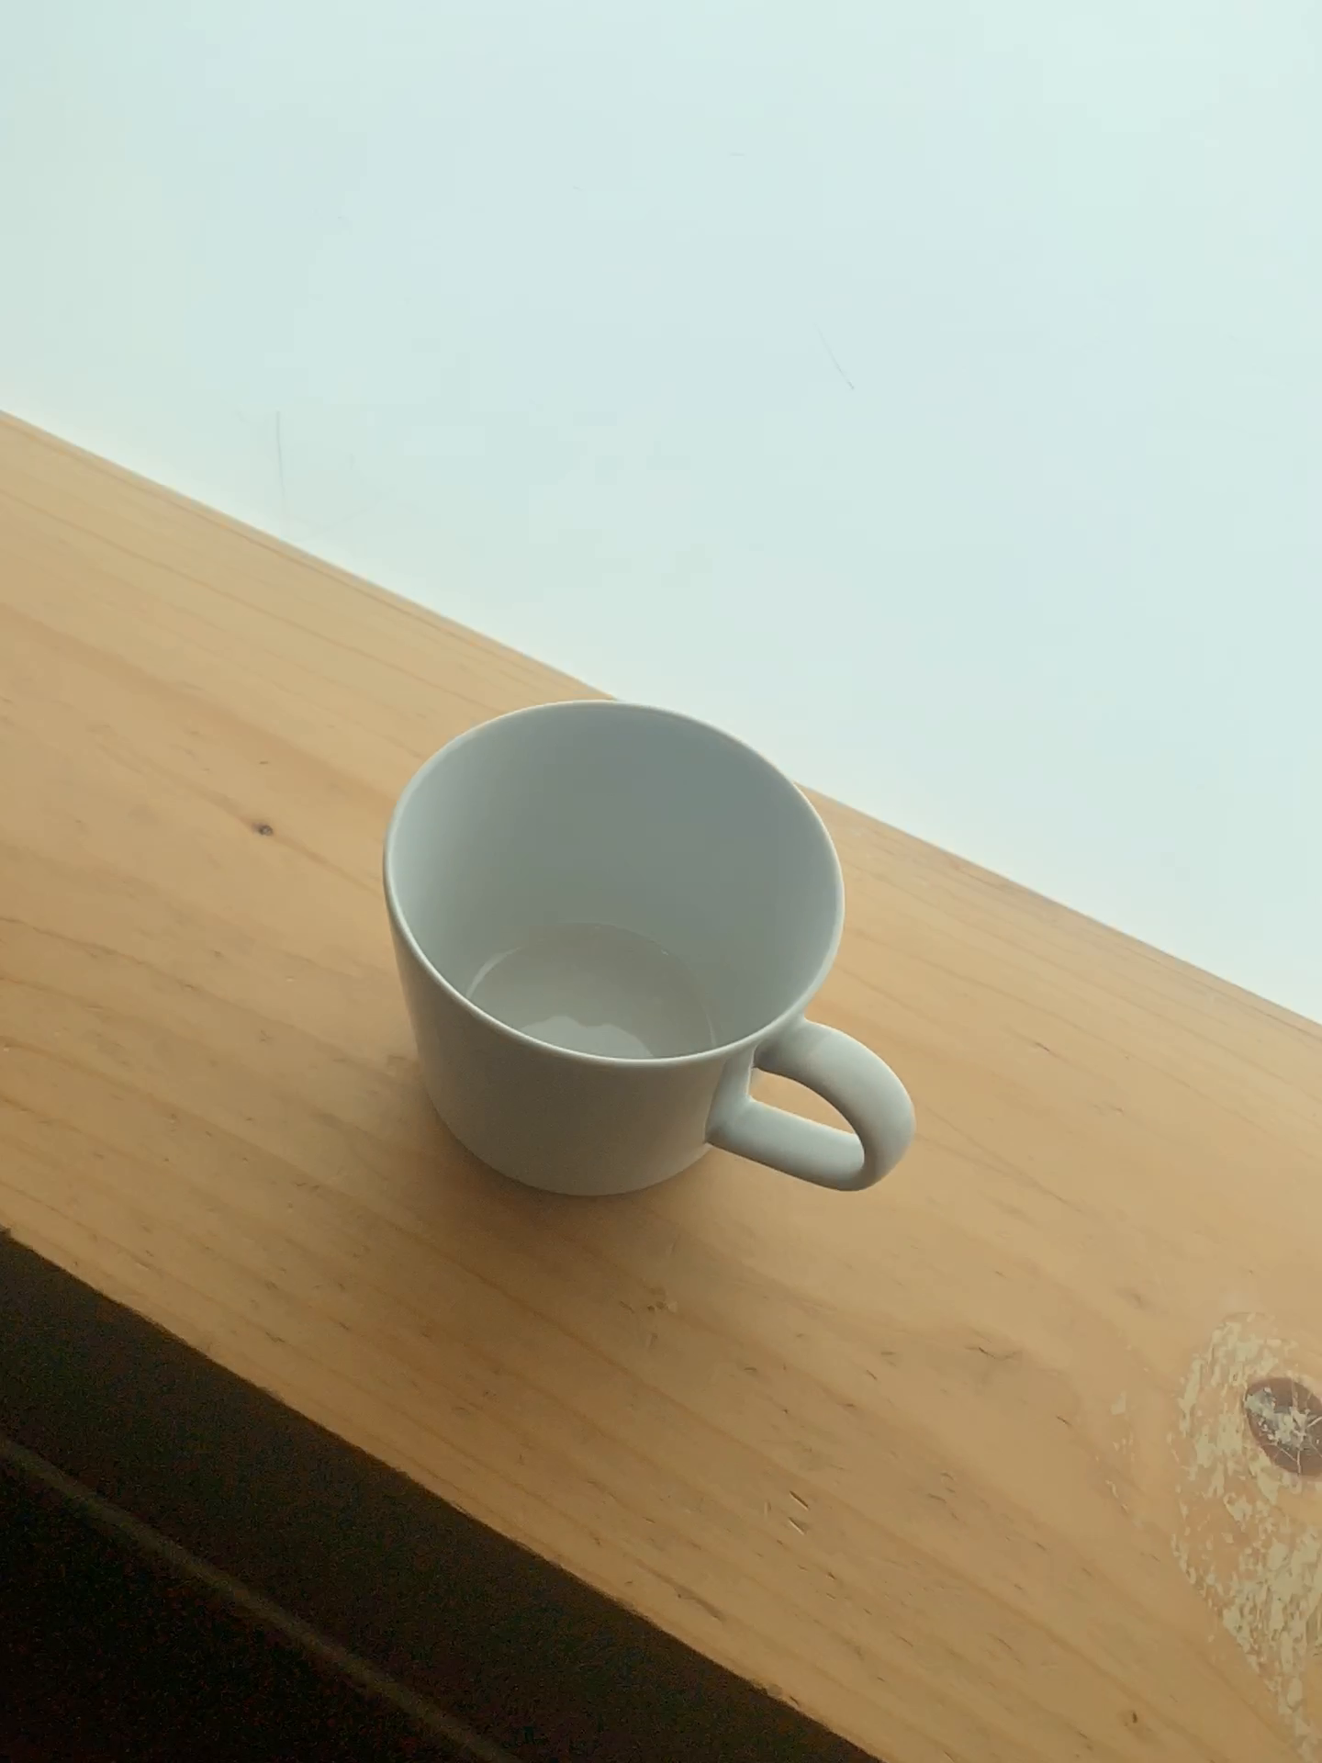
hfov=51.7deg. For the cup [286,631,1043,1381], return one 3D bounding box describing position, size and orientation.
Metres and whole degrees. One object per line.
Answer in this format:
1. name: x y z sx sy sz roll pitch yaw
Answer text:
1. cup: -0.002 0.025 0.314 0.130 0.080 0.090 33 55 16
